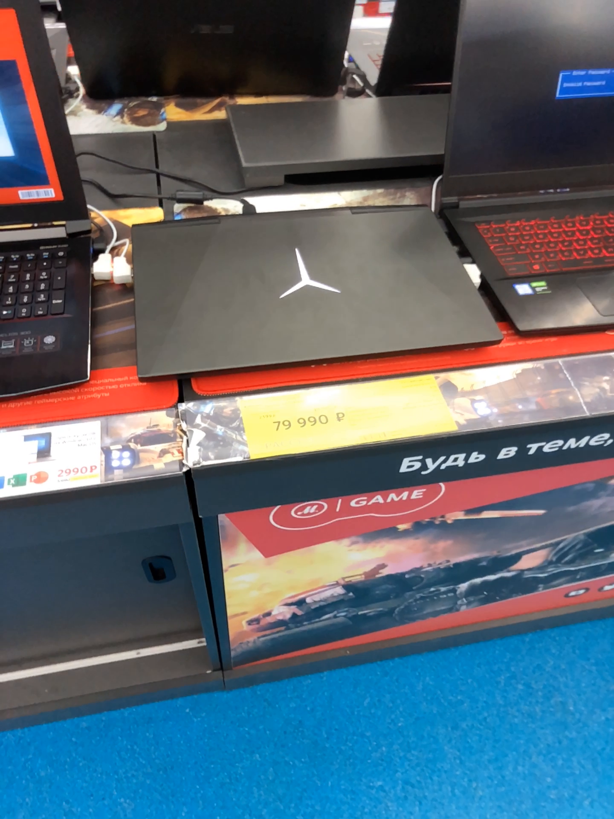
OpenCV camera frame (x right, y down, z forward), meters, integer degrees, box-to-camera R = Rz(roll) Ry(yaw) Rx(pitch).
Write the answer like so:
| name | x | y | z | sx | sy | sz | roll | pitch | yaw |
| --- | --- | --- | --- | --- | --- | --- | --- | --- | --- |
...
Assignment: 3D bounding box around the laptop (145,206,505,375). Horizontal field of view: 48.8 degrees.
| name | x | y | z | sx | sy | sz | roll | pitch | yaw |
| --- | --- | --- | --- | --- | --- | --- | --- | --- | --- |
| laptop | 0.006 | -0.140 | 0.729 | 0.343 | 0.007 | 0.228 | -7 | 49 | -9 |
